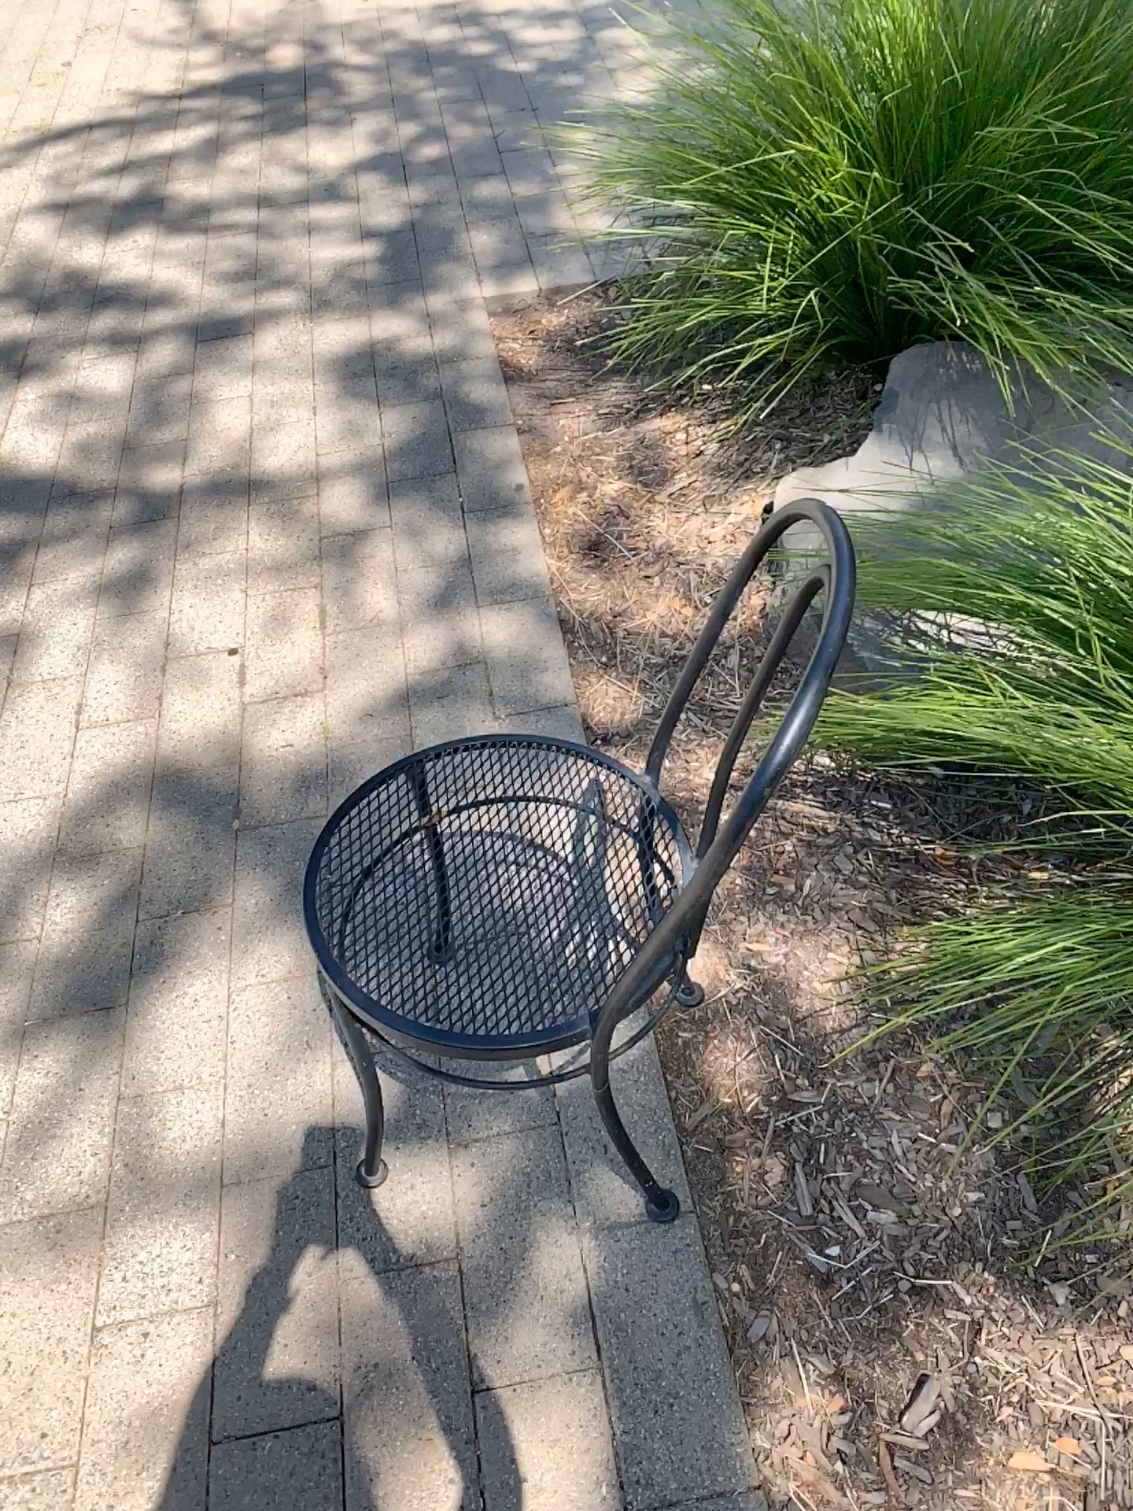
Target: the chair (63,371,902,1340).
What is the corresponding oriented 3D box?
[{"bbox_3d":[0.006,0.177,1.249,0.532,0.997,0.460,6,50,11],"label":"chair"}]
